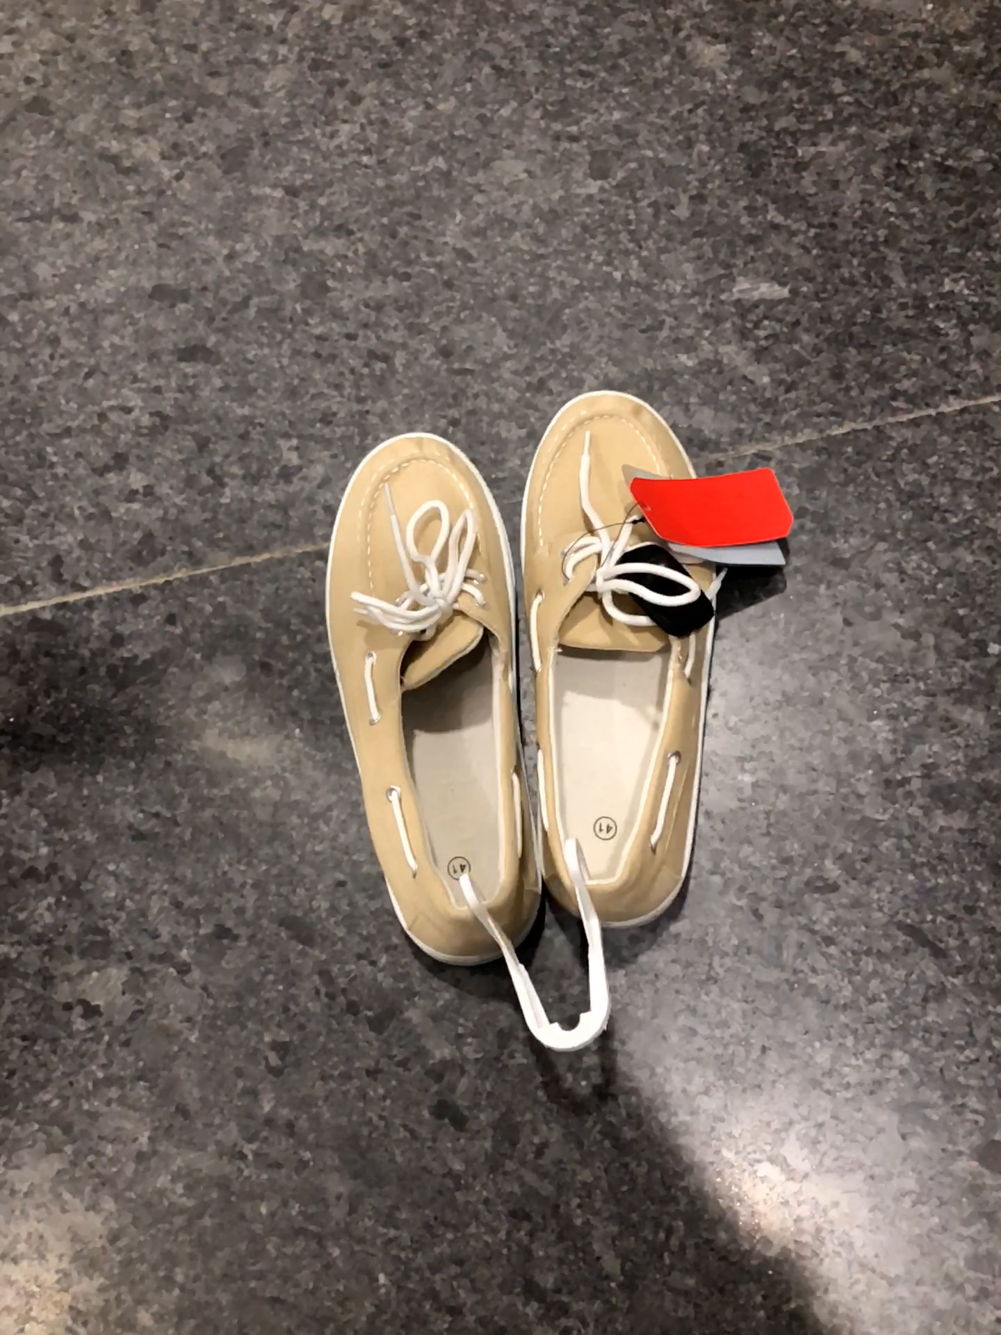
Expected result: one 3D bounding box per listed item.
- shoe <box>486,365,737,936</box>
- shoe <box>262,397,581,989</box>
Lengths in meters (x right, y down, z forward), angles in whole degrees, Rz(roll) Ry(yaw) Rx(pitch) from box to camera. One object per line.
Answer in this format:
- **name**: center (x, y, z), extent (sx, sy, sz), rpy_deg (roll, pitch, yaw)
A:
- **shoe**: center (0.050, -0.004, 0.515), extent (0.096, 0.106, 0.242), rpy_deg (-2, 70, 7)
- **shoe**: center (-0.036, 0.015, 0.516), extent (0.103, 0.106, 0.242), rpy_deg (-10, 69, 4)
